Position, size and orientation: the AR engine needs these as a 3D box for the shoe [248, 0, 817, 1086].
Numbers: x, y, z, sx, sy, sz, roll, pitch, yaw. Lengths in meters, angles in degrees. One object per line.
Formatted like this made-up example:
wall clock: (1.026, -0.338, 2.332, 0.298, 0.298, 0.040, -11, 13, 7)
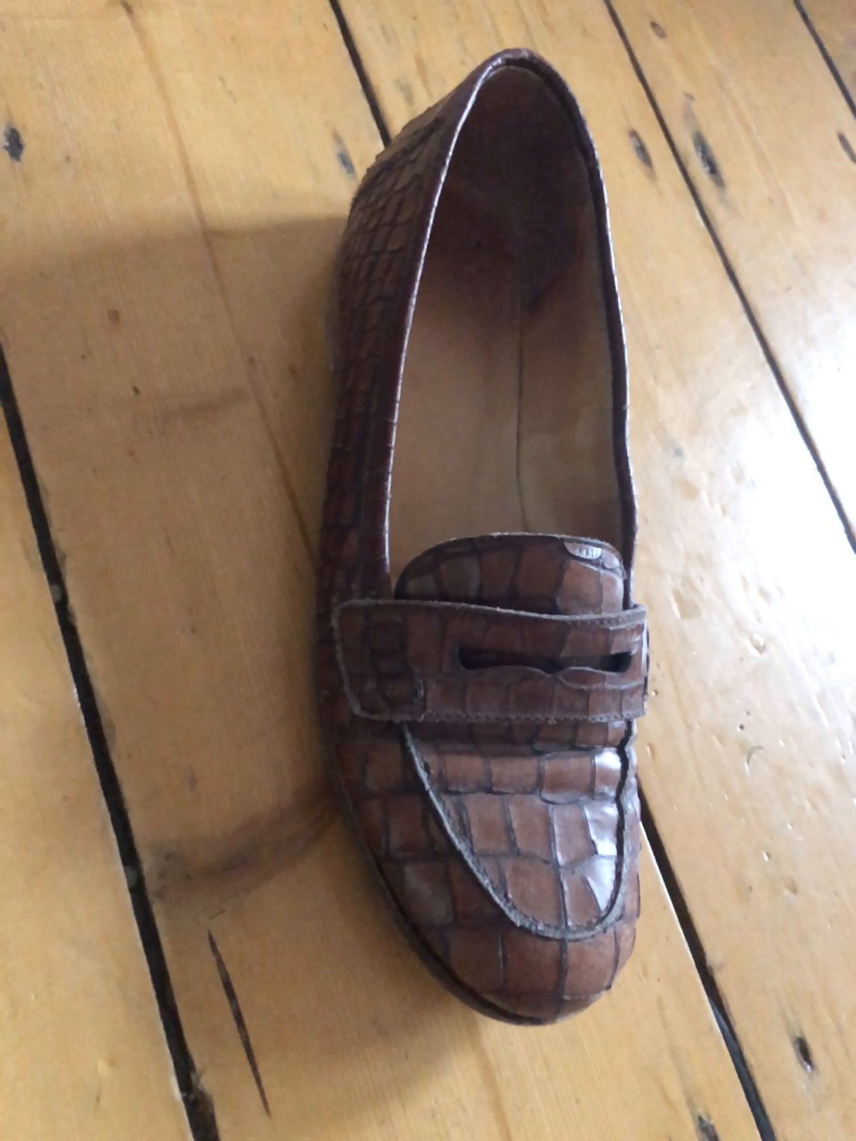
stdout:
shoe: (0.007, -0.043, 0.275, 0.080, 0.100, 0.321, 2, 69, -25)
